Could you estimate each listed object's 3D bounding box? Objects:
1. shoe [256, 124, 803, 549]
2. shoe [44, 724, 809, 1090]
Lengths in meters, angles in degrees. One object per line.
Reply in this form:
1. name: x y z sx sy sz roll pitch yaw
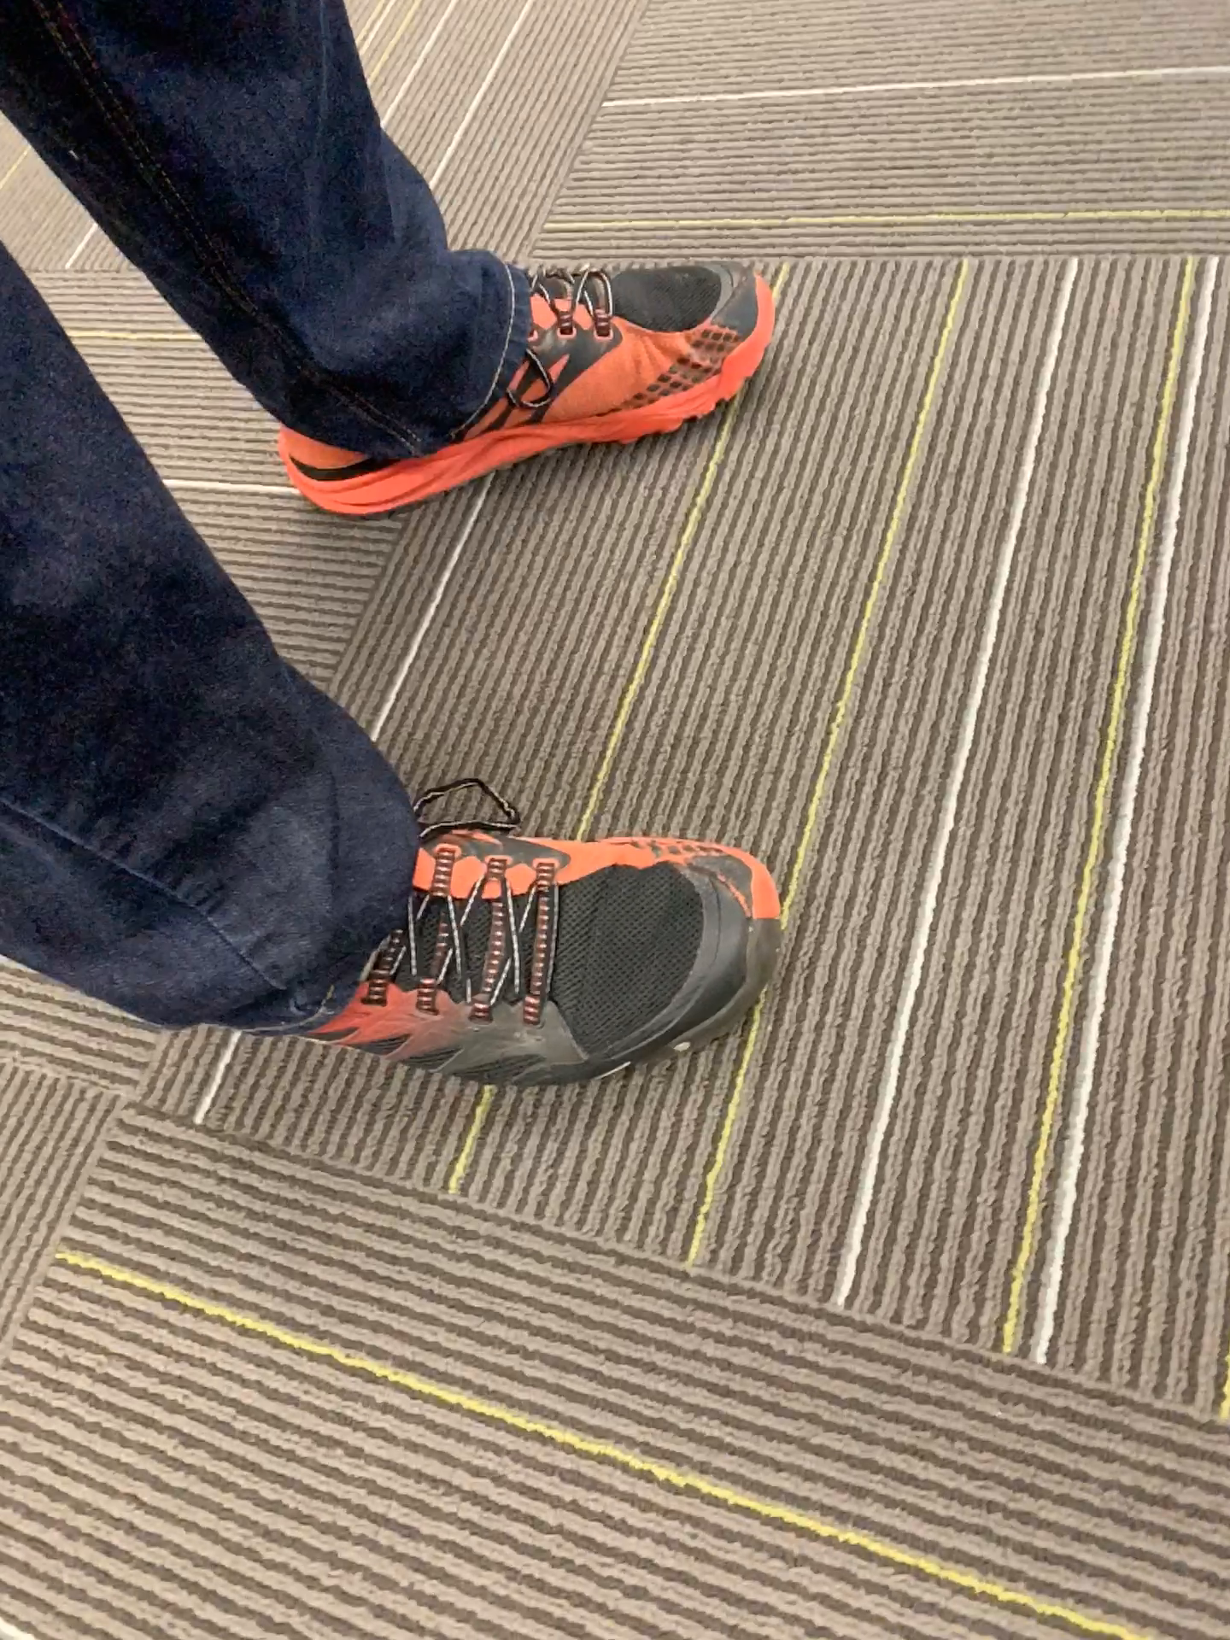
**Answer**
1. shoe: -0.054 -0.286 0.758 0.300 0.100 0.130 -15 58 8
2. shoe: -0.078 0.049 0.591 0.321 0.119 0.120 -3 60 15
